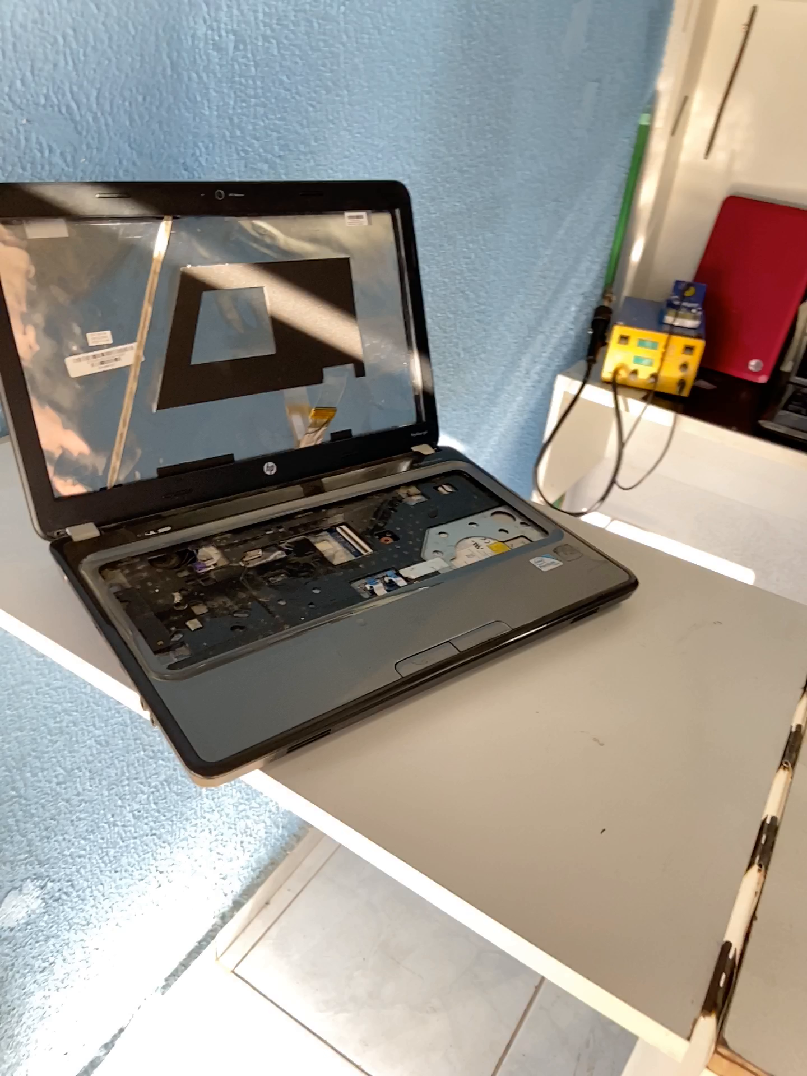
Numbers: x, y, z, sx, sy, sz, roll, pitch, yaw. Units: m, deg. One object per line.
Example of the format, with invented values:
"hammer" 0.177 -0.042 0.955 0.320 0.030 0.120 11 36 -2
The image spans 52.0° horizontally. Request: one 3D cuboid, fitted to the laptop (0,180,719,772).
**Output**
"laptop" -0.053 -0.093 0.546 0.336 0.194 0.324 -17 40 -33
